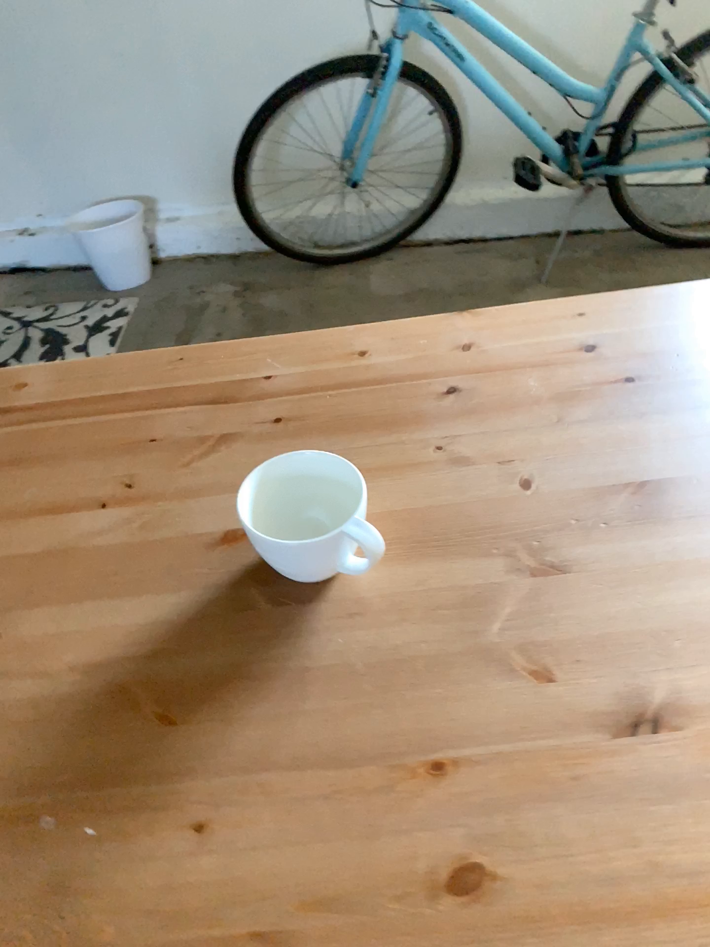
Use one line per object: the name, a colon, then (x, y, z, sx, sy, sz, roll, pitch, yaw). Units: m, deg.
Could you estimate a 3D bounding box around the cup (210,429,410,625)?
cup: (-0.034, 0.043, 0.624, 0.130, 0.100, 0.090, 17, 50, 24)
